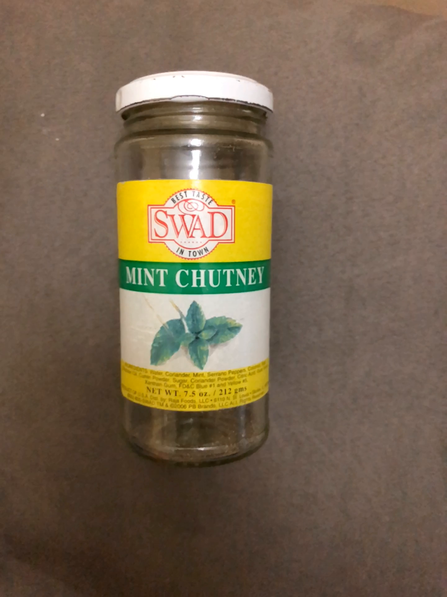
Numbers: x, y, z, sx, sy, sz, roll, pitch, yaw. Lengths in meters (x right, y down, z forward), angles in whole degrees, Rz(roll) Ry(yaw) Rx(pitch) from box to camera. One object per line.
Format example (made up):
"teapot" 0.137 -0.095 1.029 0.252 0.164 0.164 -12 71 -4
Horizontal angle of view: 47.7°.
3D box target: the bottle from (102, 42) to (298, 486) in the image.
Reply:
"bottle" -0.004 -0.010 0.182 0.056 0.056 0.133 1 99 6
